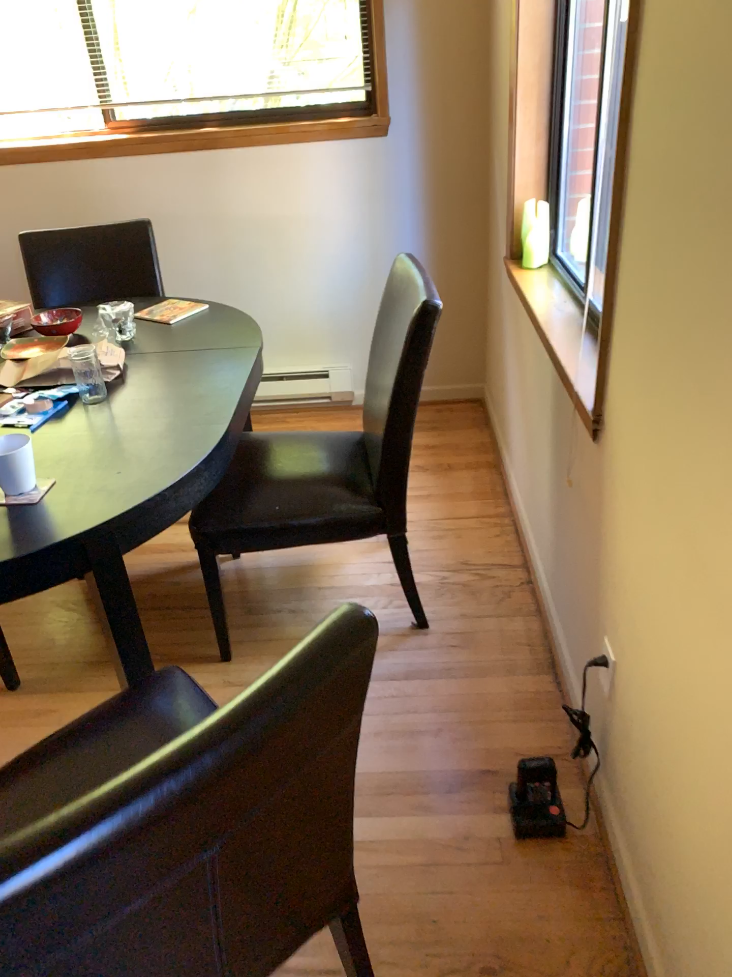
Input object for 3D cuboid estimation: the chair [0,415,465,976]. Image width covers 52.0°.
[{"bbox_3d":[-0.312,0.579,1.086,0.621,1.083,0.653,-30,38,-36],"label":"chair"}]
